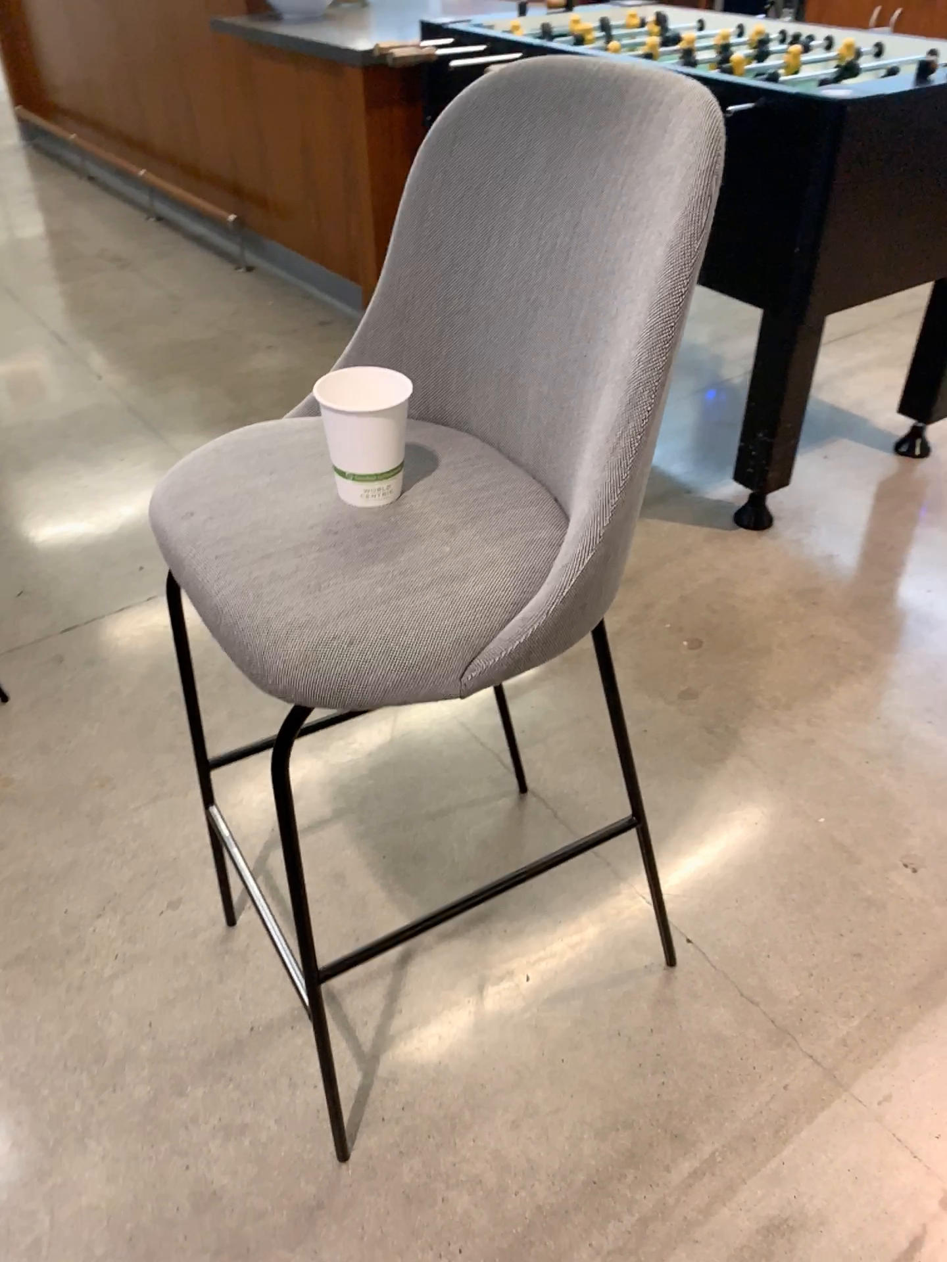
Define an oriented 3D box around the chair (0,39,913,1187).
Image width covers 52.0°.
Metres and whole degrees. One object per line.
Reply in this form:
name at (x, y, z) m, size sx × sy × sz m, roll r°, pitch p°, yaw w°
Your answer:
chair at (-0.041, 0.009, 1.071) m, size 0.570 × 1.054 × 0.473 m, roll -21°, pitch 42°, yaw -23°
